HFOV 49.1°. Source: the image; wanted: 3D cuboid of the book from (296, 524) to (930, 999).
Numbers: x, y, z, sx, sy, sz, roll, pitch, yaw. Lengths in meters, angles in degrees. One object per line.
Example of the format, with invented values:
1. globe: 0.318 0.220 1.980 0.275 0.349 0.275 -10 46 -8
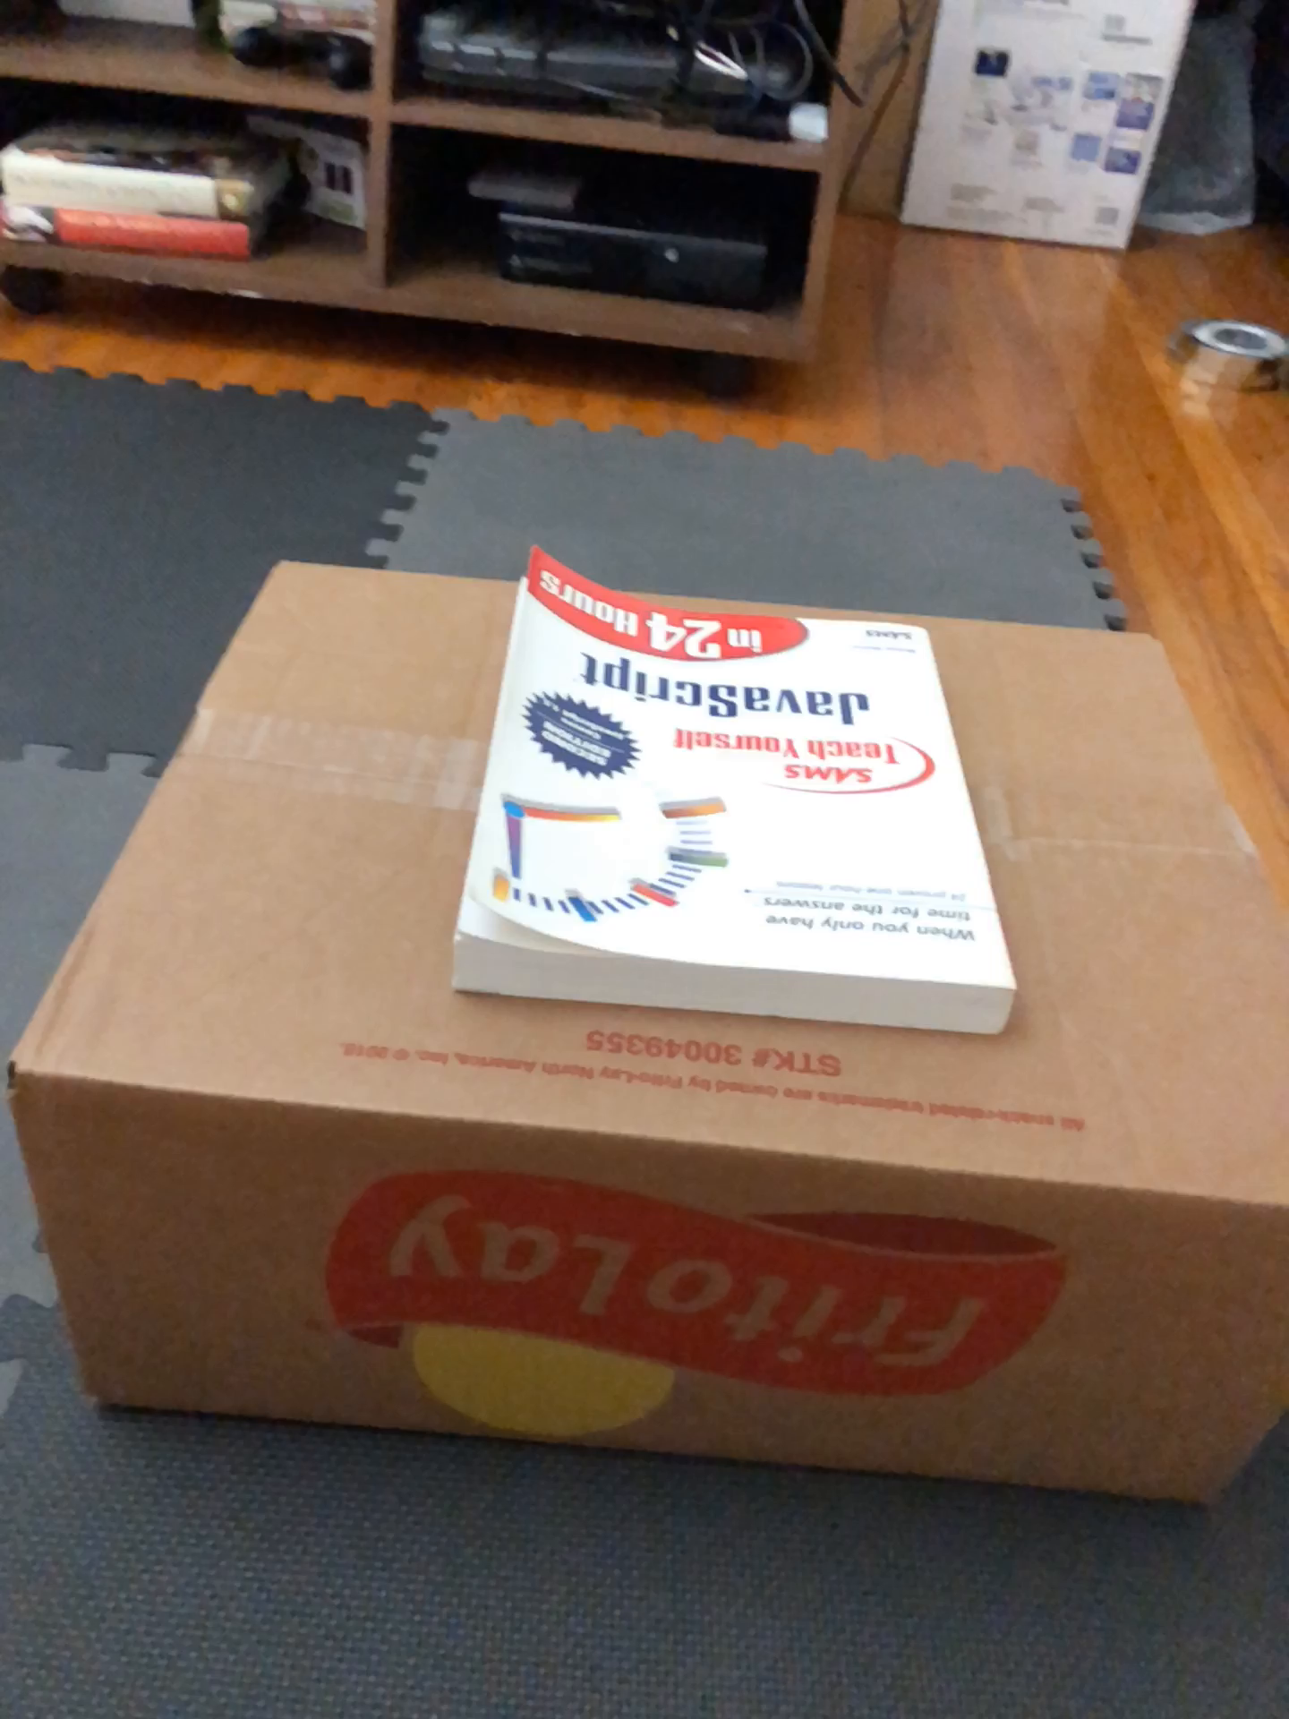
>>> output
1. book: -0.008 -0.051 0.545 0.200 0.030 0.241 4 41 -2
